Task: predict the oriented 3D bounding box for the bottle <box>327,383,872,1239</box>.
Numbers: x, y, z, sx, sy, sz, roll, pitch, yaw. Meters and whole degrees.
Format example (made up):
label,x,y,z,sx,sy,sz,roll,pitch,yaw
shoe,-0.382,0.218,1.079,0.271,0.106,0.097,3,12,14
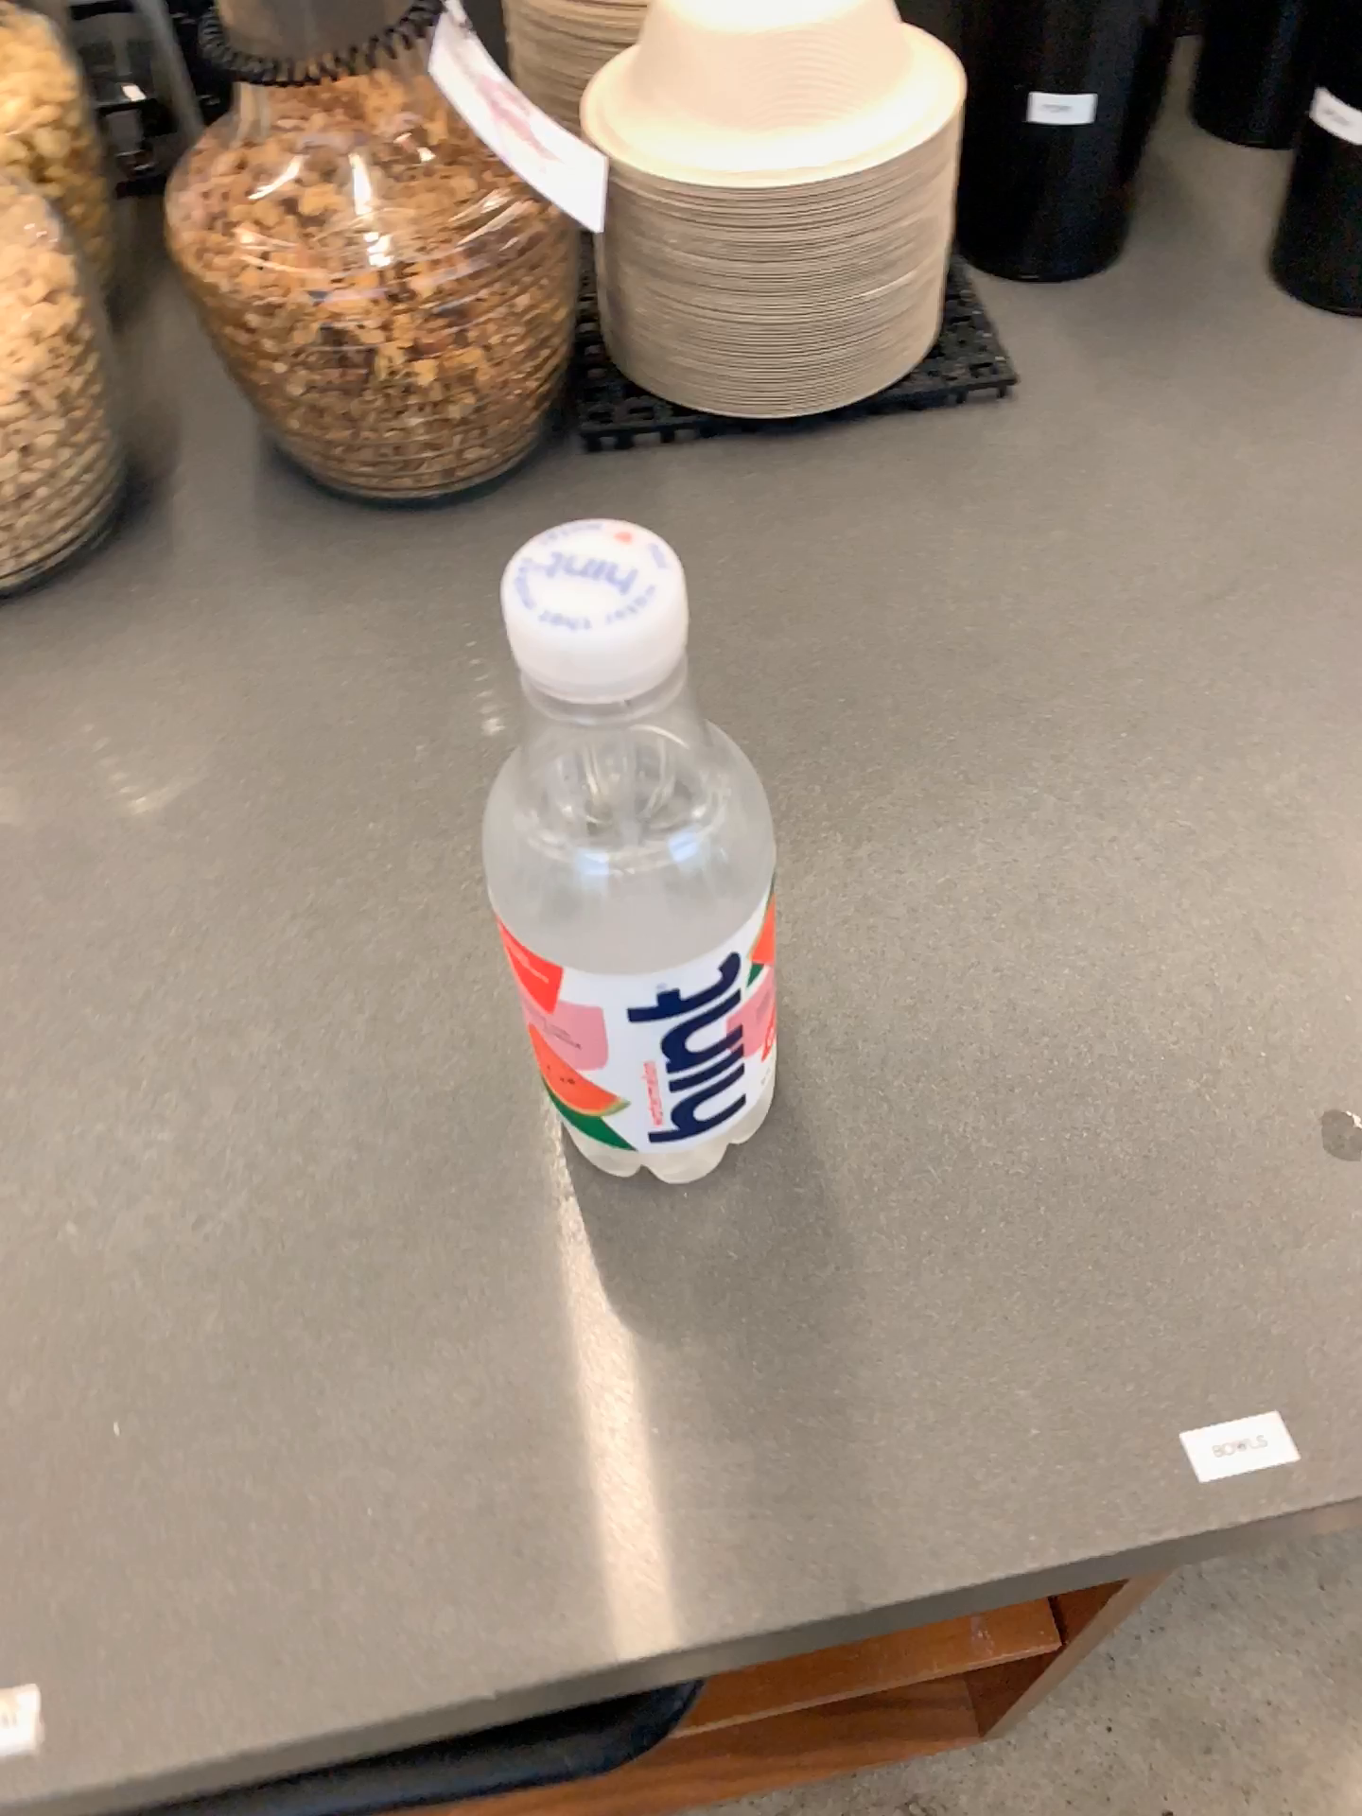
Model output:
label,x,y,z,sx,sy,sz,roll,pitch,yaw
bottle,-0.009,-0.007,0.331,0.070,0.199,0.070,-2,54,3
